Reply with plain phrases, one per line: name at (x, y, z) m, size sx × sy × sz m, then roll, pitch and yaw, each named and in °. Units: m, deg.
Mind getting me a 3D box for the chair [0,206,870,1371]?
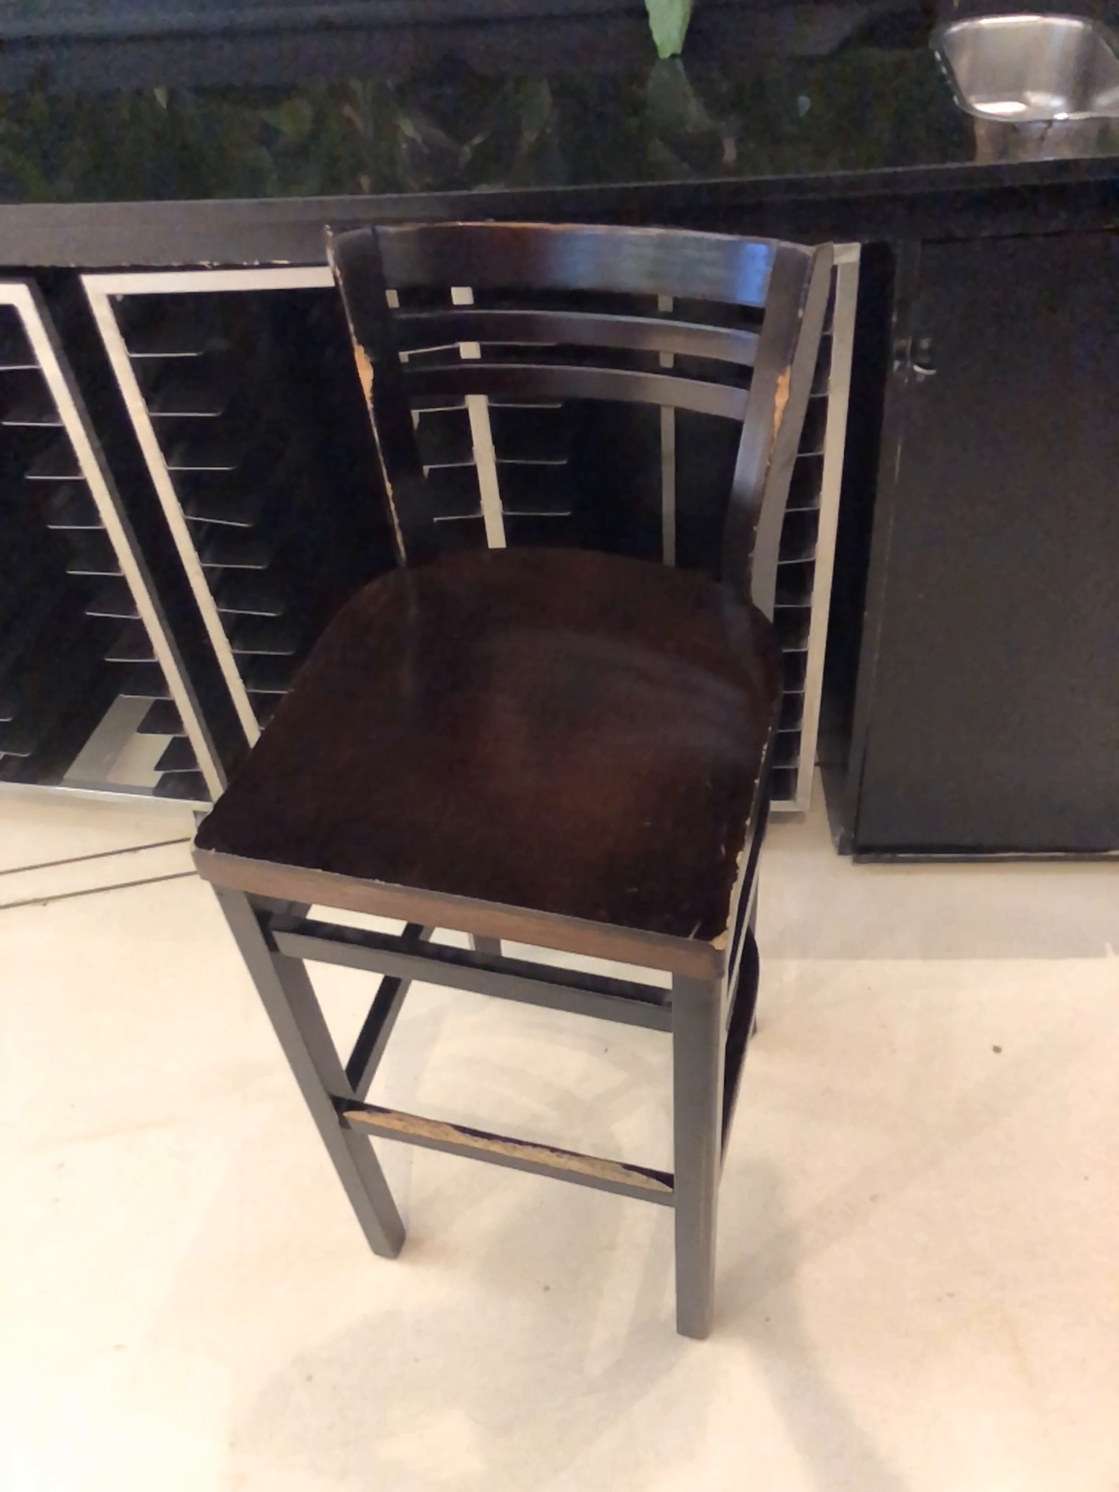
chair at (-0.017, 0.086, 1.071) m, size 0.440 × 0.914 × 0.453 m, roll 8°, pitch 46°, yaw 16°
